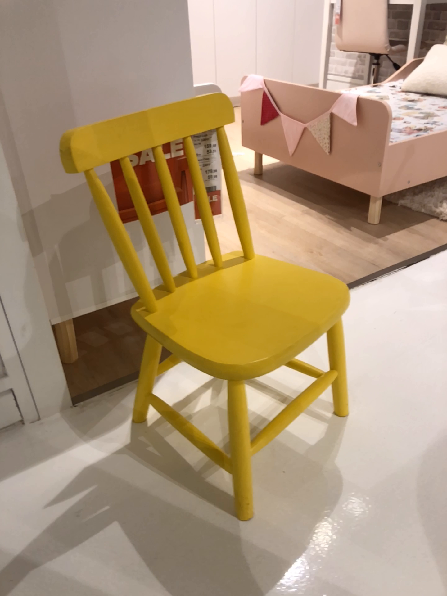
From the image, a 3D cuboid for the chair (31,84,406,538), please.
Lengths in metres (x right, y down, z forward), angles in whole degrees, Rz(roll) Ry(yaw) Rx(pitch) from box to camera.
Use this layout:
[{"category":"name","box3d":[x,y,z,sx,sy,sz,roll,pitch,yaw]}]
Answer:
[{"category":"chair","box3d":[0.011,-0.013,0.843,0.371,0.576,0.382,22,40,34]}]
